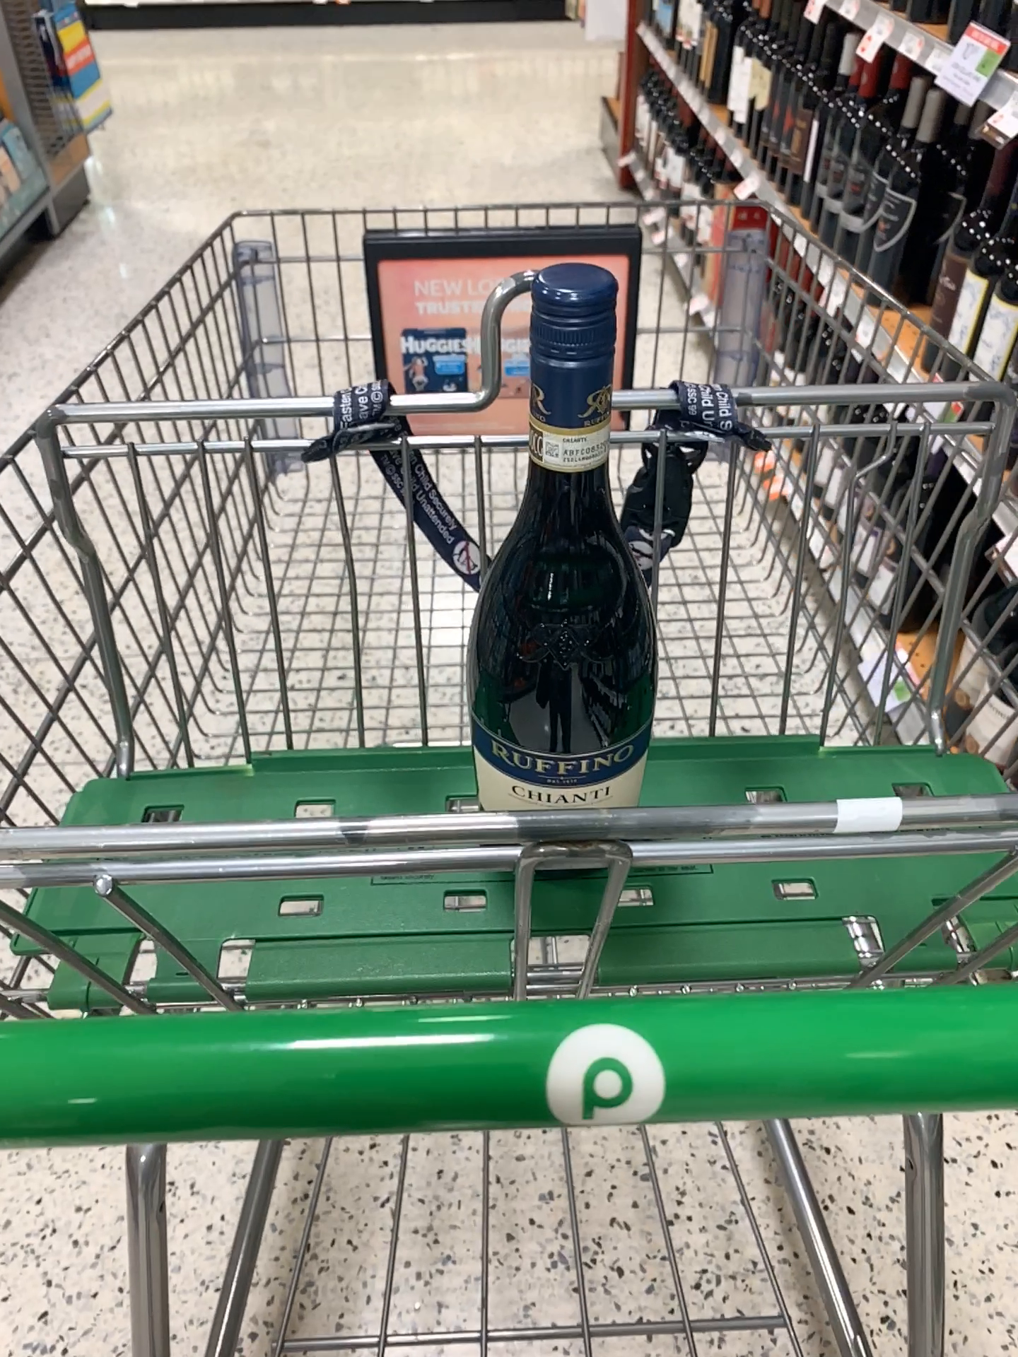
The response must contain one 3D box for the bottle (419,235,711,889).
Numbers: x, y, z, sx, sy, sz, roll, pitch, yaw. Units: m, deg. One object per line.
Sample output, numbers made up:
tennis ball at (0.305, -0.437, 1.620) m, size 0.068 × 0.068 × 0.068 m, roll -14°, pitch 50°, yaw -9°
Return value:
bottle at (0.017, -0.033, 0.444) m, size 0.090 × 0.267 × 0.091 m, roll 0°, pitch 41°, yaw 0°
